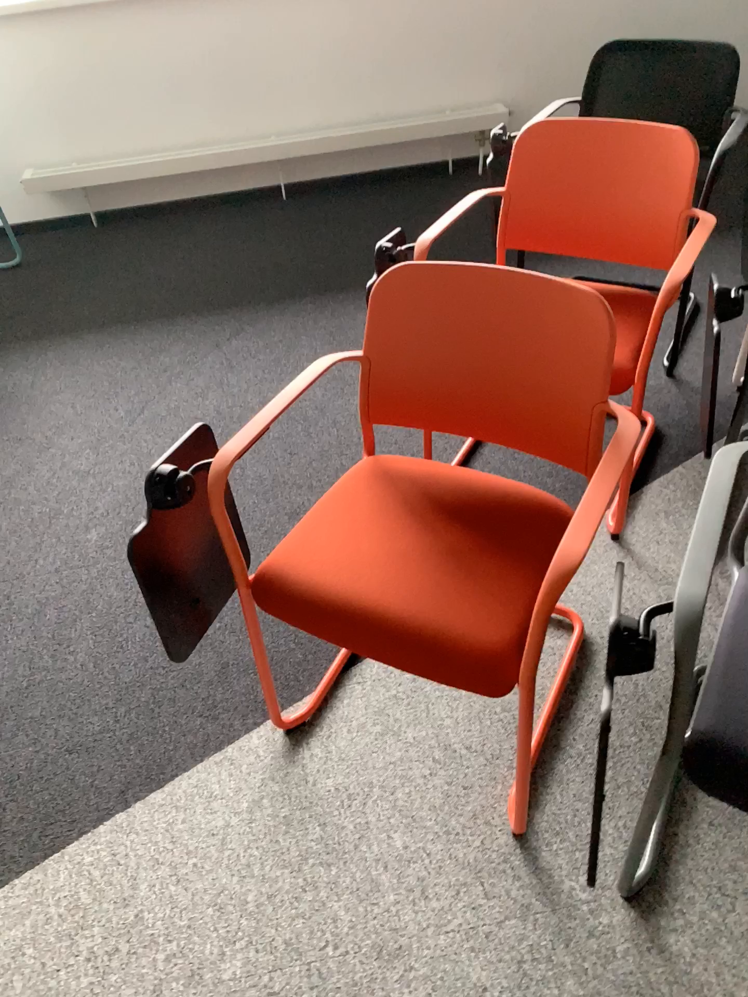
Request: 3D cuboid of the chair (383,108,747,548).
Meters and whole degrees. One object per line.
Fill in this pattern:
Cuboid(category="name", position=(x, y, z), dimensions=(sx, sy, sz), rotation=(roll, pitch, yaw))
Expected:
Cuboid(category="chair", position=(0.460, -0.431, 1.836), dimensions=(0.611, 0.756, 0.602), rotation=(16, 46, 24))

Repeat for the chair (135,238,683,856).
Cuboid(category="chair", position=(0.106, 0.067, 1.317), dimensions=(0.581, 0.766, 0.562), rotation=(16, 47, 24))
